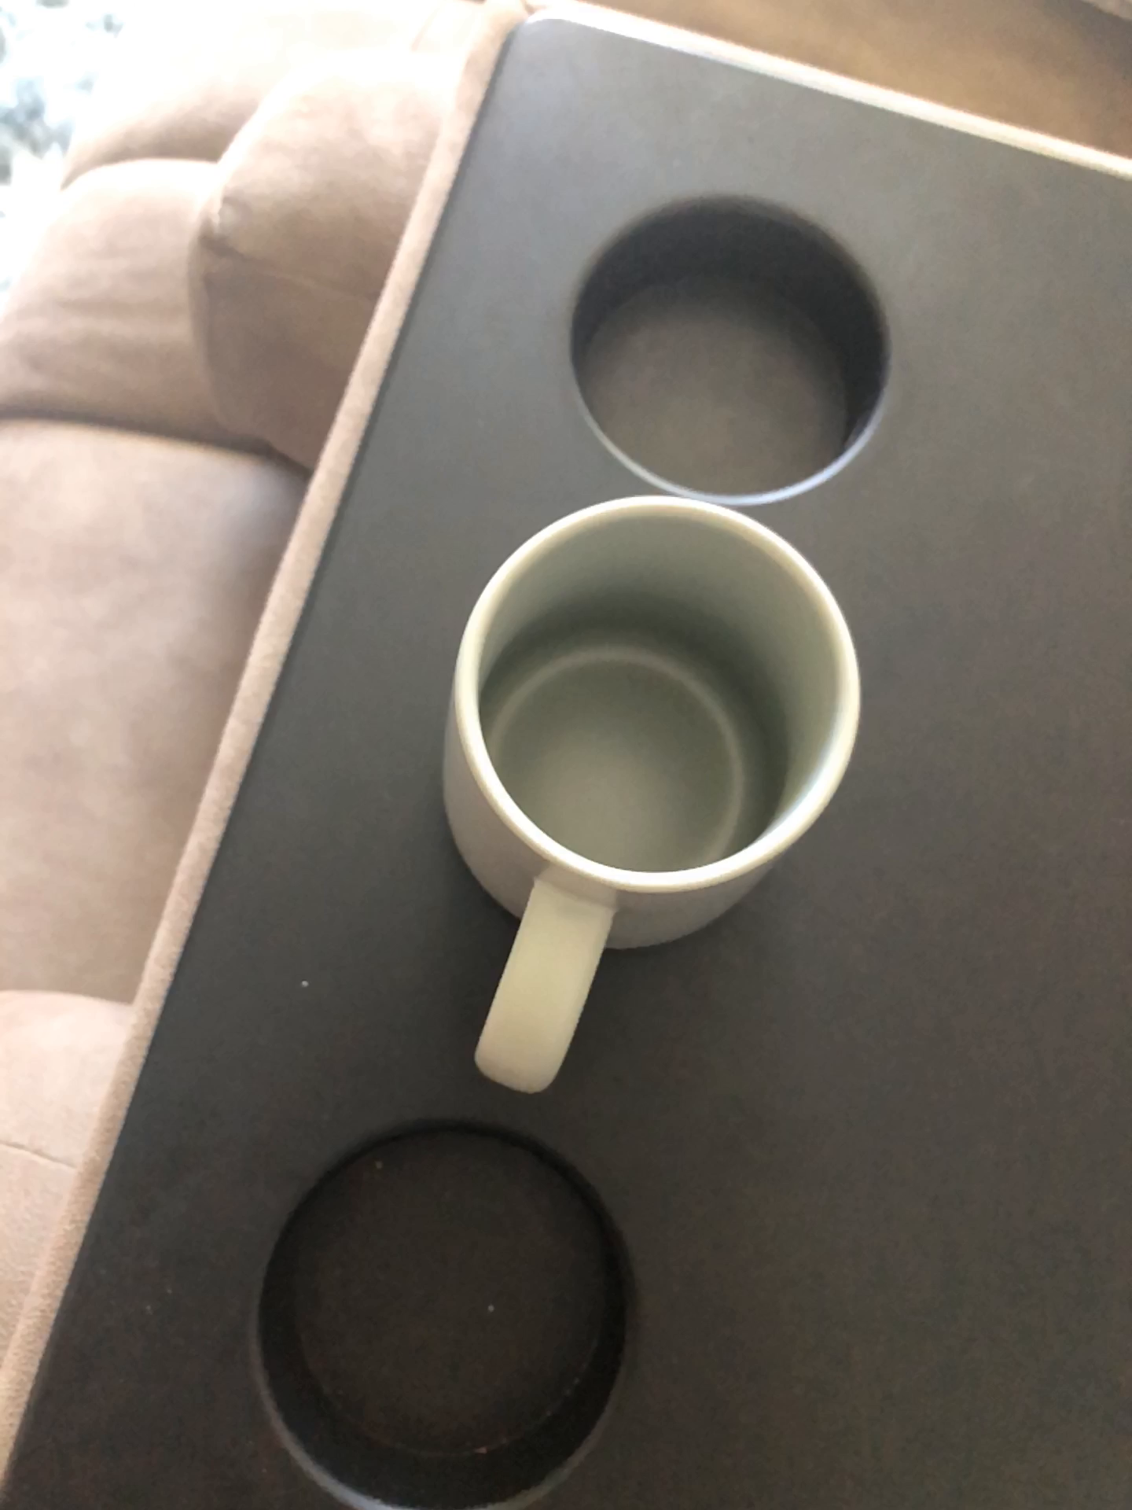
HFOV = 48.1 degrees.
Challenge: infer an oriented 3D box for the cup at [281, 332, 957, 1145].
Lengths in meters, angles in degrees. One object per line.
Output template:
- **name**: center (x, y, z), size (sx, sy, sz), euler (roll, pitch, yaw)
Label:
- **cup**: center (0.012, 0.004, 0.301), size (0.086, 0.122, 0.136), euler (21, 79, 4)
